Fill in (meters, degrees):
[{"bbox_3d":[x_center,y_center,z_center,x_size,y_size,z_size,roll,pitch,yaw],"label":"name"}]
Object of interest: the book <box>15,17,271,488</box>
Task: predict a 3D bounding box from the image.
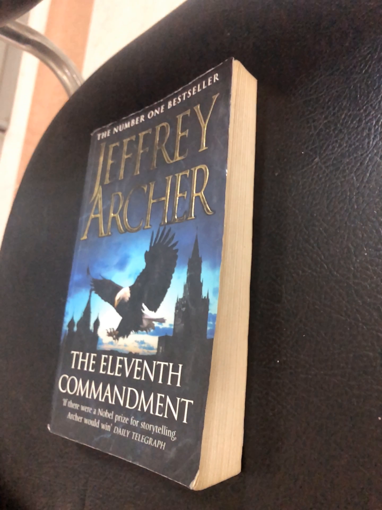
[{"bbox_3d":[-0.028,-0.003,0.235,0.131,0.040,0.200,-6,74,41],"label":"book"}]
